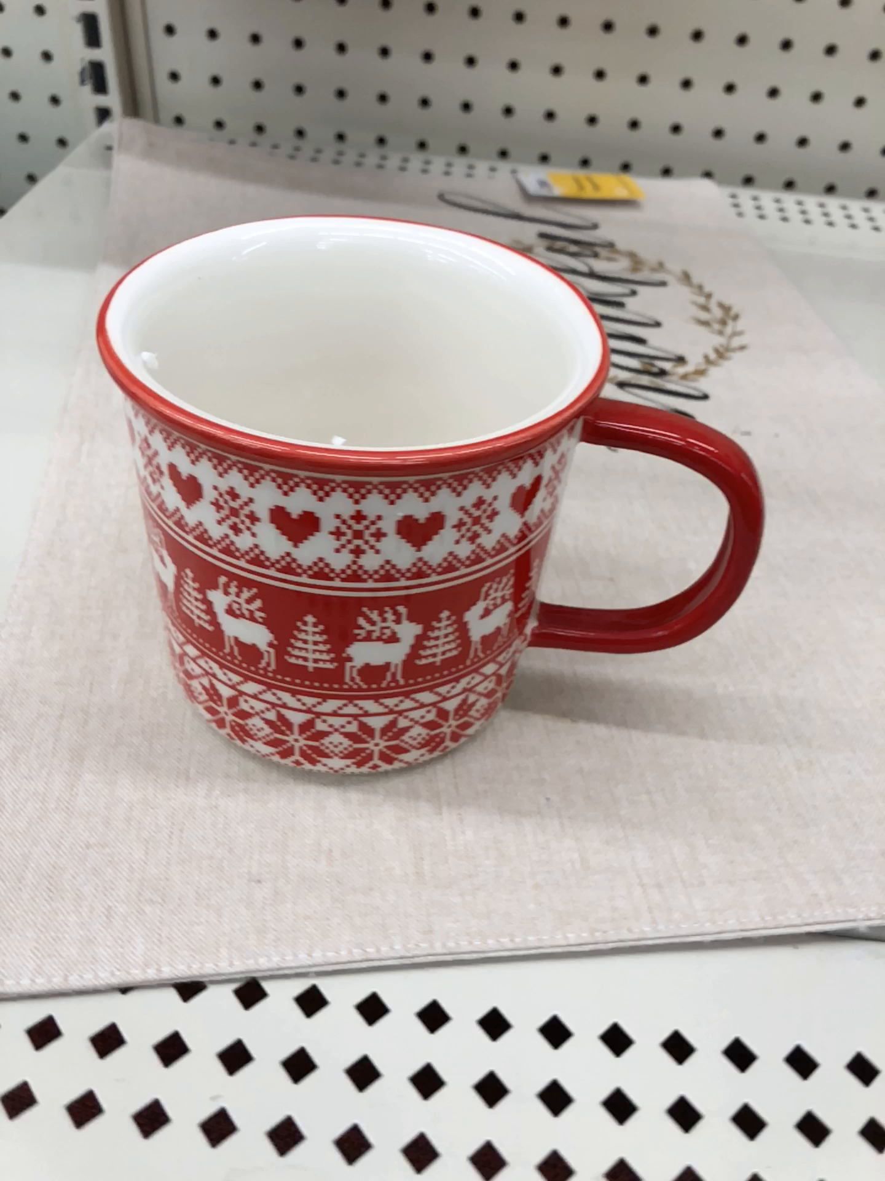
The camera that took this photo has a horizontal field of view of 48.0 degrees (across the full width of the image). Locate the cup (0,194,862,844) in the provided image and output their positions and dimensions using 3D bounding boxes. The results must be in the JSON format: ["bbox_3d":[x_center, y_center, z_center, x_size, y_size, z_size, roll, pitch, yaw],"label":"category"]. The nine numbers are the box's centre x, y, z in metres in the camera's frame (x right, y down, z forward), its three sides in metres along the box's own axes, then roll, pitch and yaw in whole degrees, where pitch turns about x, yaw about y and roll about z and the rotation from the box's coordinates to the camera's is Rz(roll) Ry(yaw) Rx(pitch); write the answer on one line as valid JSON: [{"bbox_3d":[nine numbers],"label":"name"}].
[{"bbox_3d":[-0.003,-0.019,0.240,0.150,0.100,0.100,7,42,1],"label":"cup"}]
